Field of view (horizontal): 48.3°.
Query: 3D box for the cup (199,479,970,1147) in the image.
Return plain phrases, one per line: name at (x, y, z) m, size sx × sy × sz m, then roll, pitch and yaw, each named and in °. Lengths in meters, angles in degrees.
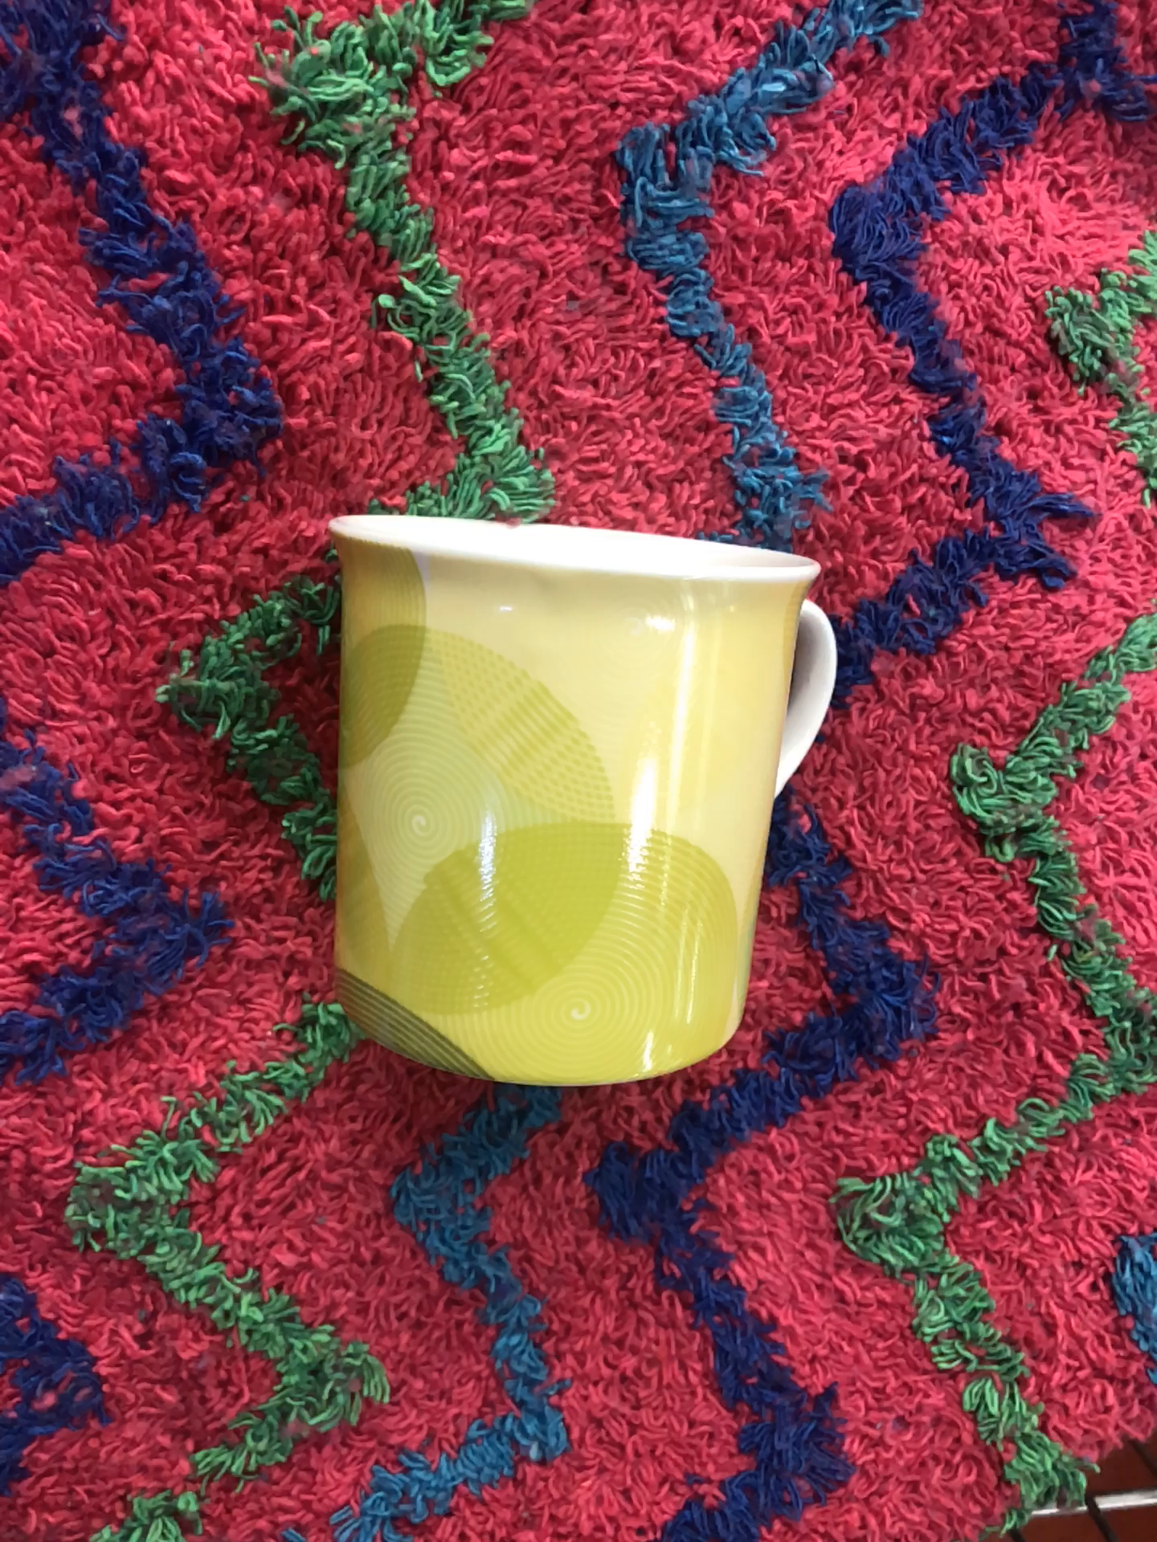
cup at (0.000, -0.005, 0.239) m, size 0.110 × 0.080 × 0.090 m, roll -8°, pitch 108°, yaw -37°
